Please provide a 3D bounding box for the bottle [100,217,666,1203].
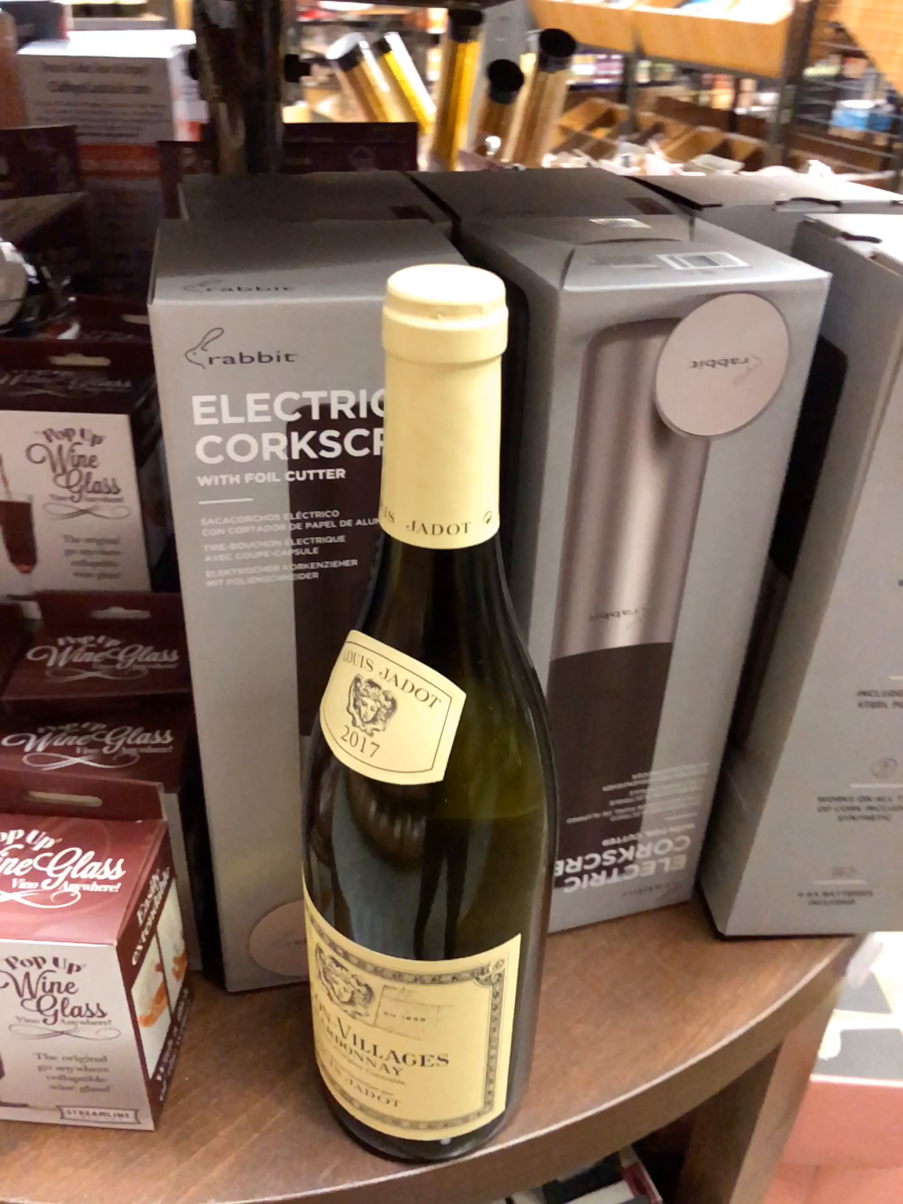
[{"bbox_3d":[-0.015,0.054,0.305,0.090,0.299,0.090,1,32,0],"label":"bottle"}]
